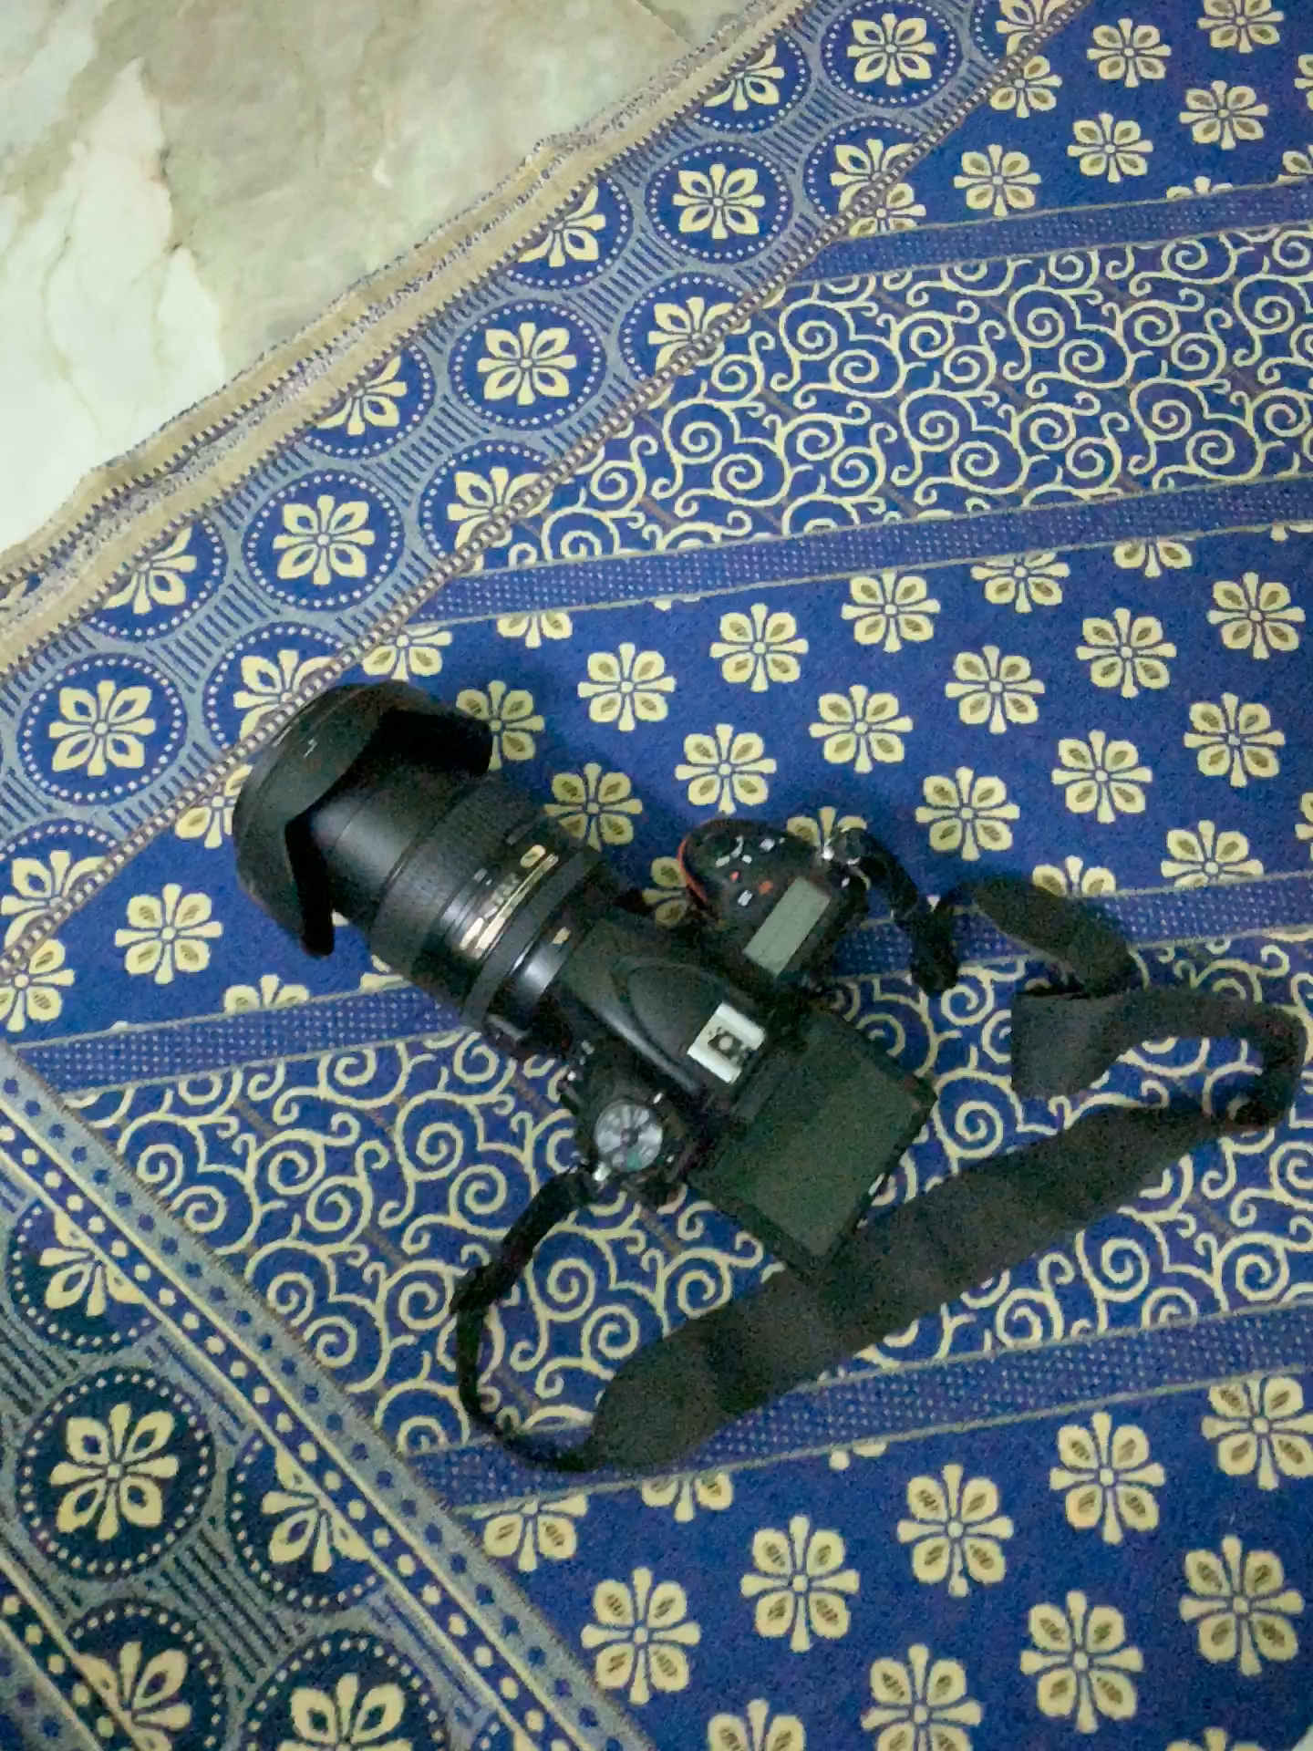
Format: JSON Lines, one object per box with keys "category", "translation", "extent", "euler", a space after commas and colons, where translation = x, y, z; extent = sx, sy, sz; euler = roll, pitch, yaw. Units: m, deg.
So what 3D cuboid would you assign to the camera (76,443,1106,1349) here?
{"category": "camera", "translation": [-0.027, 0.007, 0.509], "extent": [0.320, 0.110, 0.160], "euler": [36, 77, 11]}
